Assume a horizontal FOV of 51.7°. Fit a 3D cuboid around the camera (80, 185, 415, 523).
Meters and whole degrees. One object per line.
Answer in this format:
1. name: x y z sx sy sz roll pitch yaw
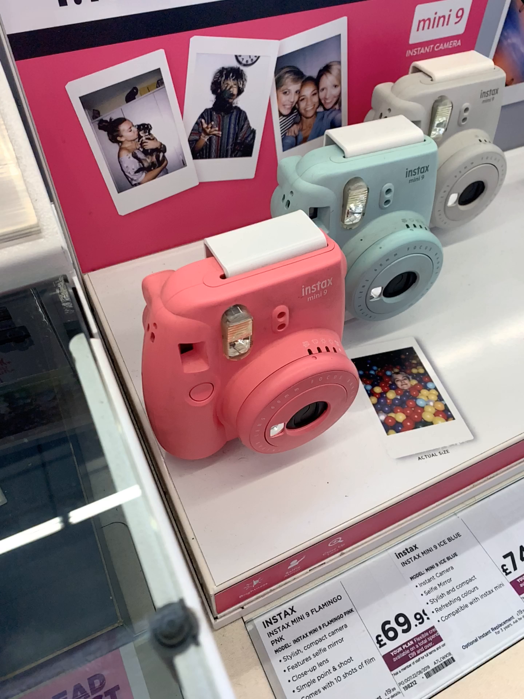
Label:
1. camera: -0.009 0.003 0.275 0.120 0.119 0.081 -20 52 -17
